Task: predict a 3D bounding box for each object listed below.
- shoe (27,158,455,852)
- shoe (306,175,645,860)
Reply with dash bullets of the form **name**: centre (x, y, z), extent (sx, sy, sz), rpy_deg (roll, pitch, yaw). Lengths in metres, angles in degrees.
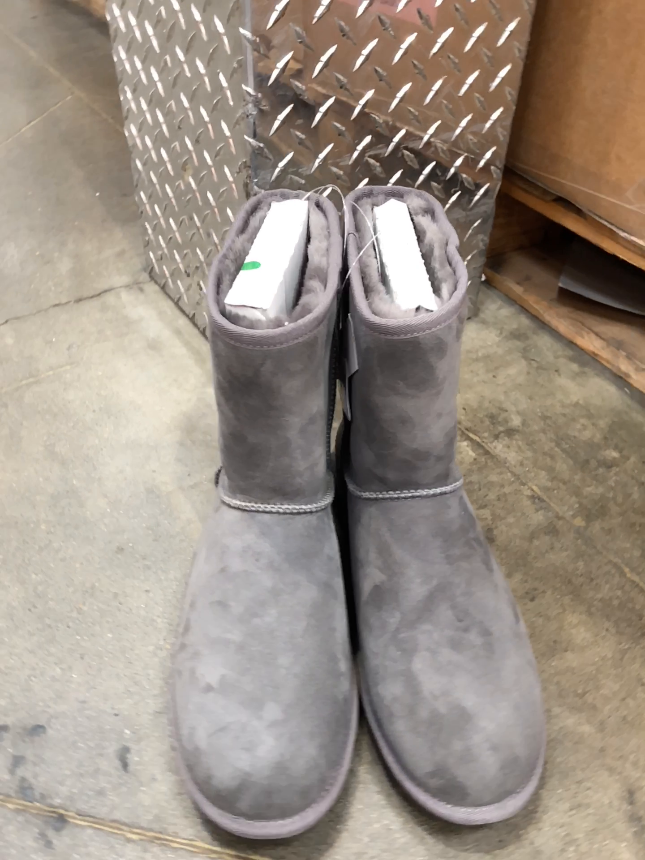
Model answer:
- **shoe**: centre (-0.024, 0.028, 0.385), extent (0.120, 0.239, 0.281), rpy_deg (2, 42, -1)
- **shoe**: centre (0.064, 0.036, 0.385), extent (0.110, 0.239, 0.271), rpy_deg (-5, 42, -7)
